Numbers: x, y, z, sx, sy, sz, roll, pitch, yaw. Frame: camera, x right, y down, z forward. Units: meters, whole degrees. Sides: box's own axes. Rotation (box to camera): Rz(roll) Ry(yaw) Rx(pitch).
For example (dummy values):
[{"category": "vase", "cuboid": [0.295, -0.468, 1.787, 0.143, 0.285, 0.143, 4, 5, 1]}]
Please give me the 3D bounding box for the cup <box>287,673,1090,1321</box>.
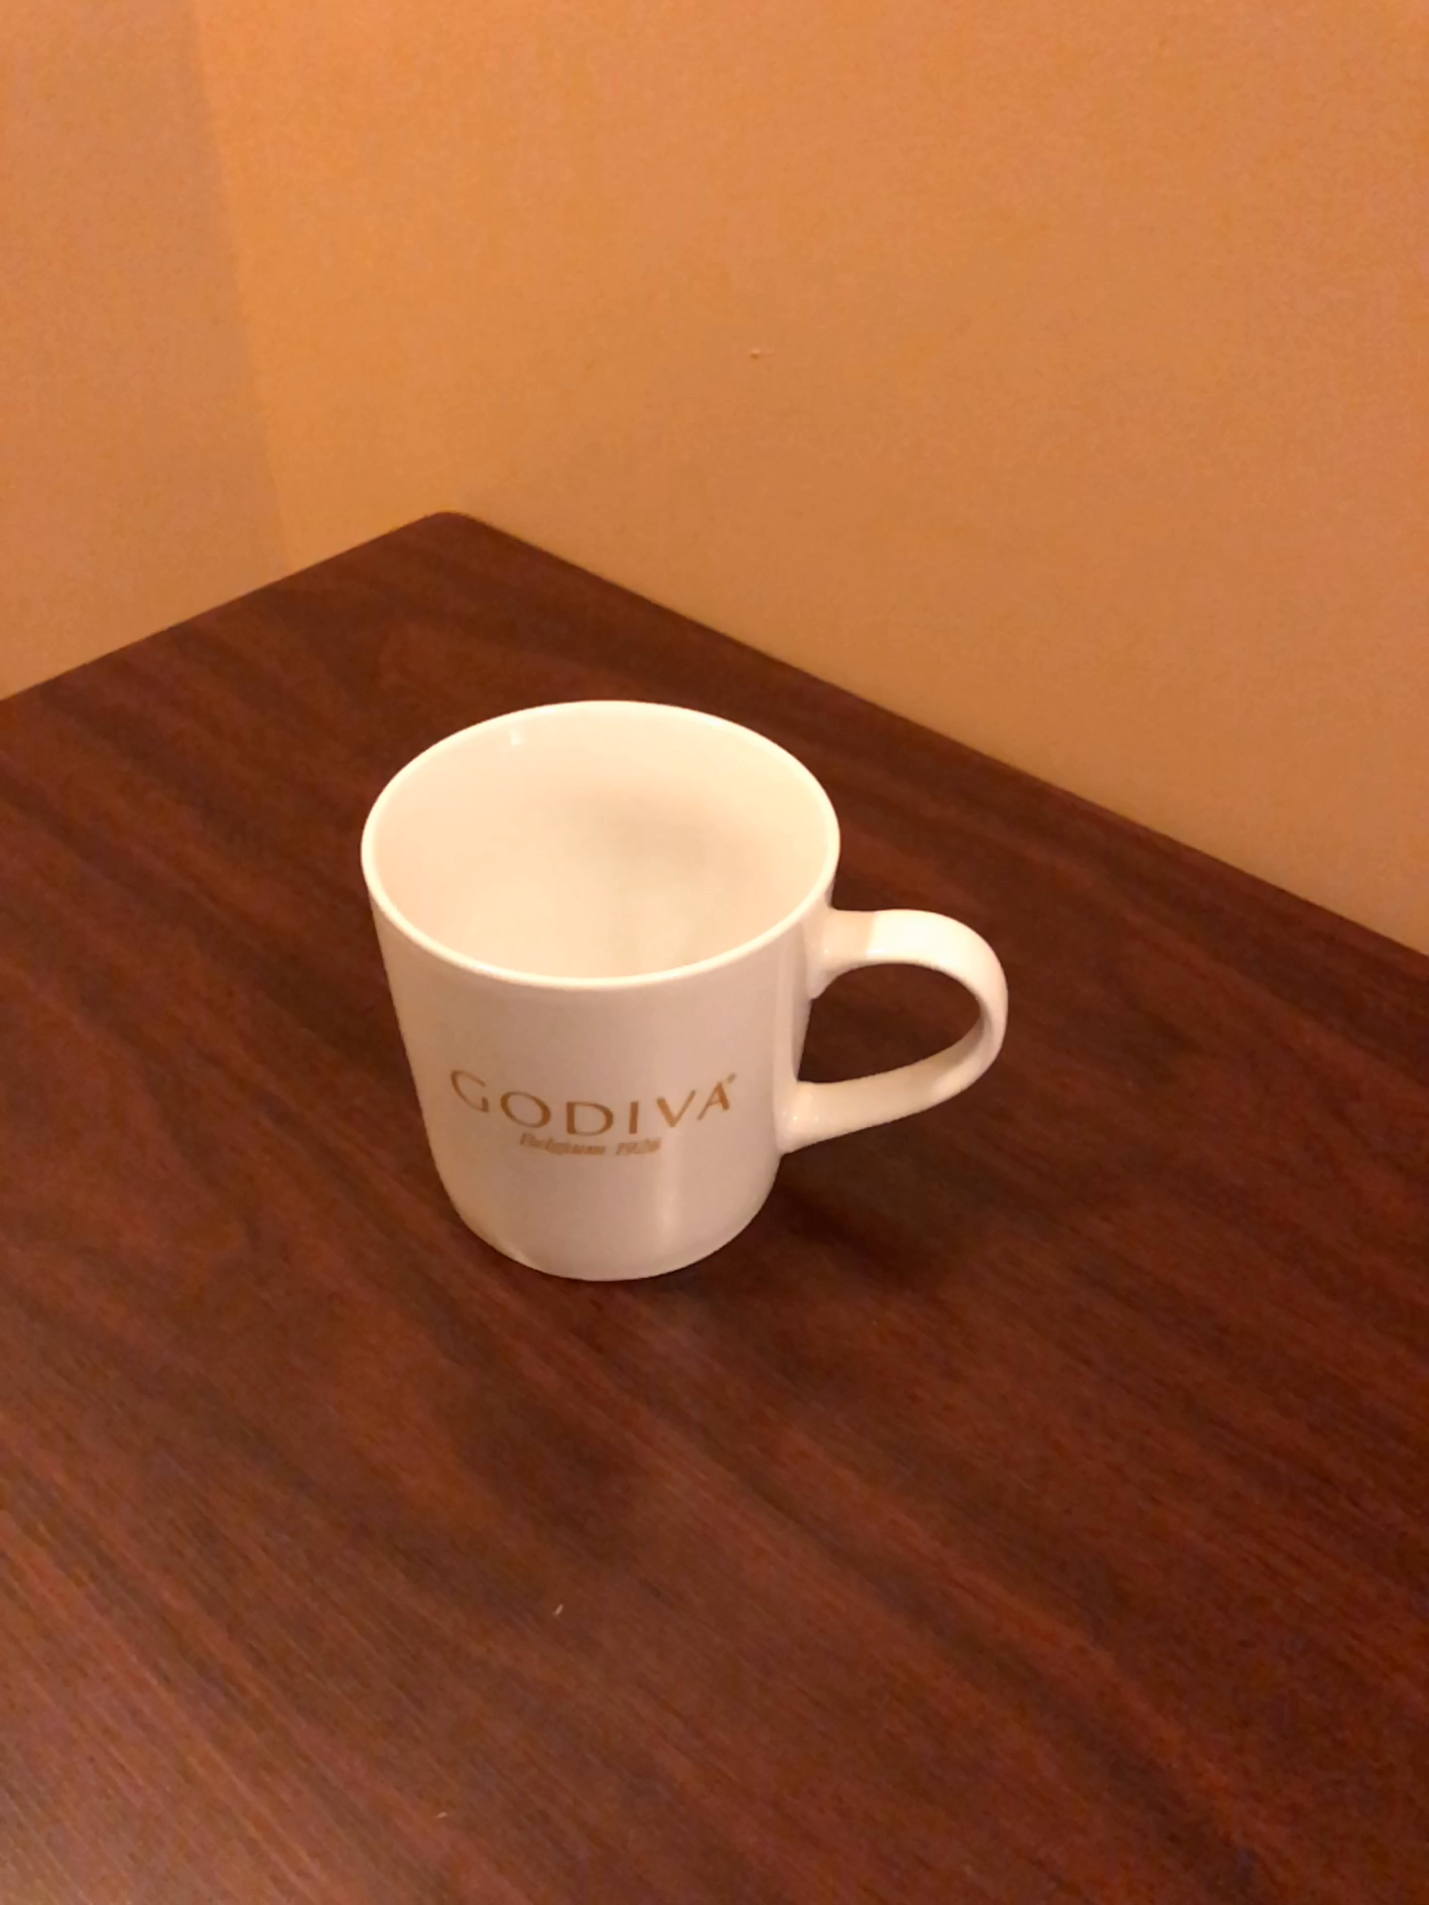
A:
[{"category": "cup", "cuboid": [-0.005, 0.009, 0.370, 0.150, 0.100, 0.111, 1, 41, 0]}]
